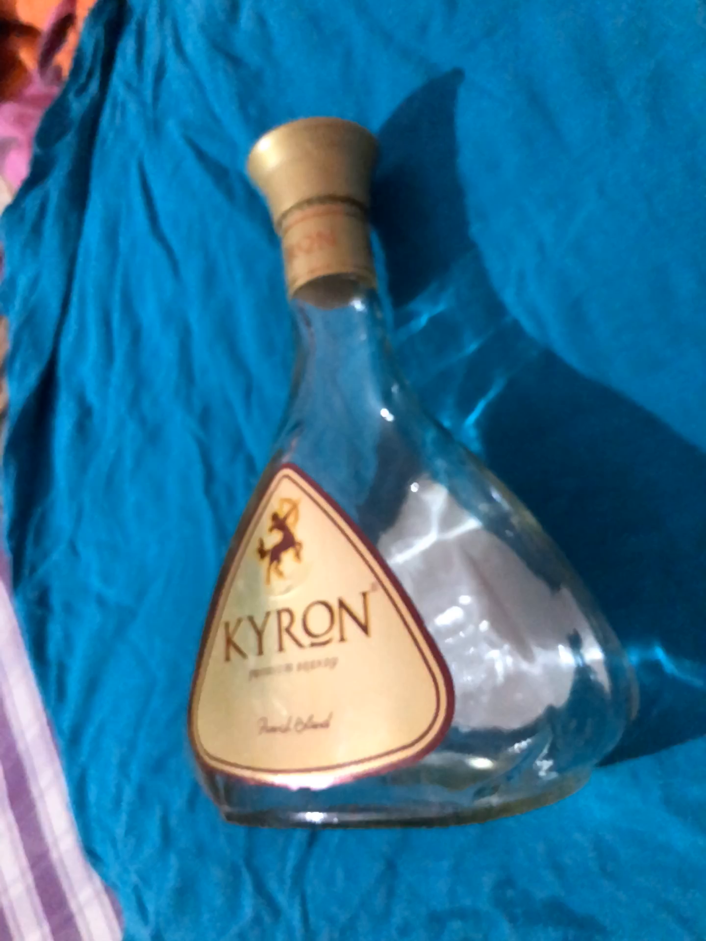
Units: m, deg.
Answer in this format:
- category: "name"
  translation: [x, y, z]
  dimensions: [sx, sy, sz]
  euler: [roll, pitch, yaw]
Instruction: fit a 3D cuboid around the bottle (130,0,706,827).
- category: "bottle"
  translation: [0.015, -0.022, 0.264]
  dimensions: [0.150, 0.080, 0.240]
  euler: [-21, 74, 41]
